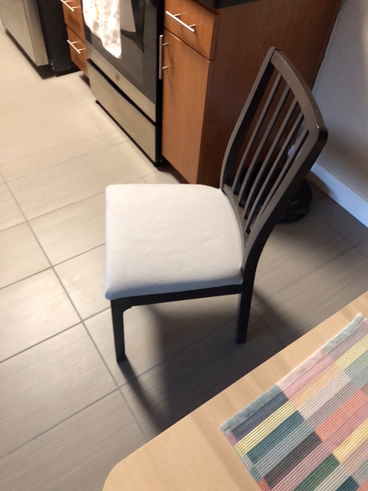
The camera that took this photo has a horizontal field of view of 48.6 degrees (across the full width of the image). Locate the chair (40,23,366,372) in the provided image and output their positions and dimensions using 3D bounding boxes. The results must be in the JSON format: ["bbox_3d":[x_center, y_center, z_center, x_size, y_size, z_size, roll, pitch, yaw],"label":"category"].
[{"bbox_3d":[-0.014,-0.095,1.233,0.590,0.847,0.582,-3,50,-7],"label":"chair"}]
